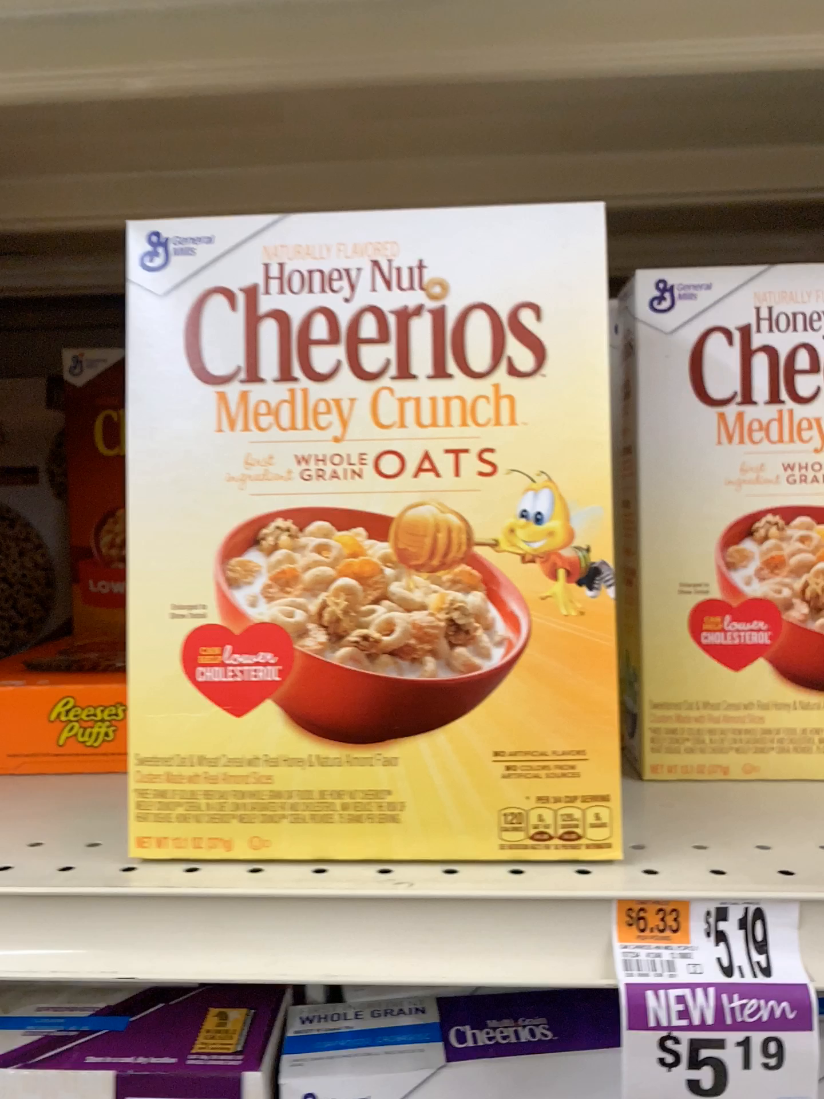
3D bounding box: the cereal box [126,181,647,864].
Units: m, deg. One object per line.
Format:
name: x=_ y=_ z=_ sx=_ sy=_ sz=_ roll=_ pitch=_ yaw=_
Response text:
cereal box: x=-0.011 y=-0.009 z=0.348 sx=0.190 sy=0.250 sz=0.060 roll=-1 pitch=-3 yaw=4
